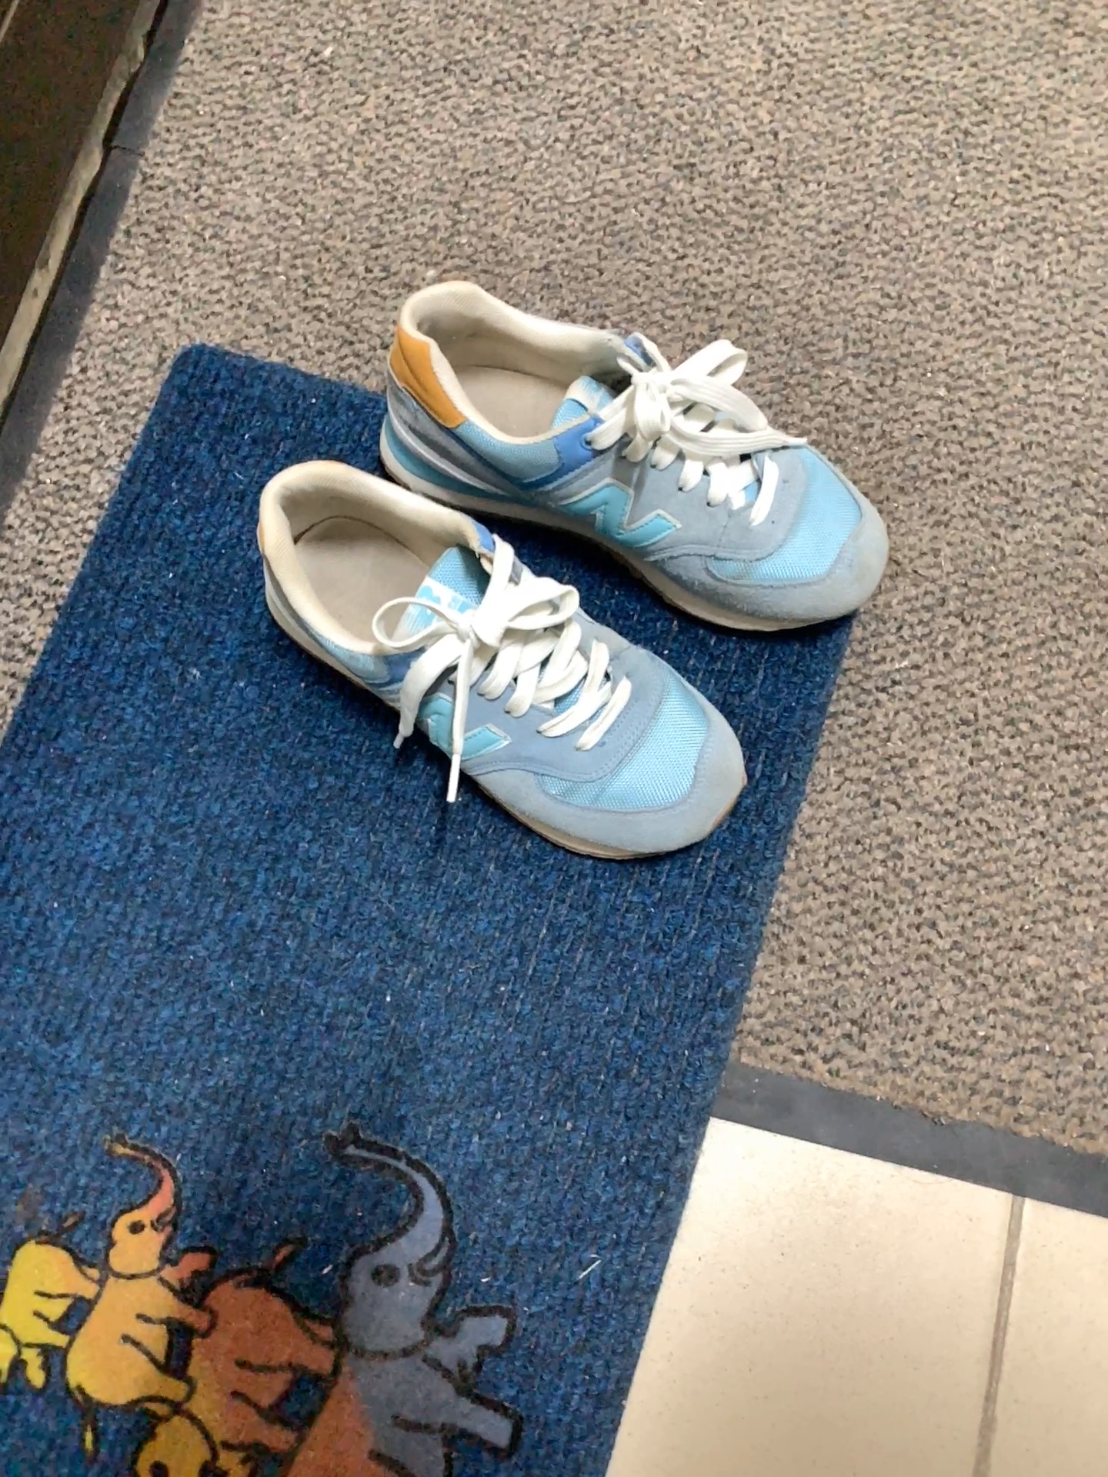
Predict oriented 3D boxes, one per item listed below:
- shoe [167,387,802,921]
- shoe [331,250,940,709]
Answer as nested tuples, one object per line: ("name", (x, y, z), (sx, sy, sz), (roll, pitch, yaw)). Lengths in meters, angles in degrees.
("shoe", (-0.032, -0.031, 0.529), (0.260, 0.140, 0.080), (32, 75, 10))
("shoe", (0.036, -0.119, 0.552), (0.250, 0.120, 0.090), (25, 81, 8))
